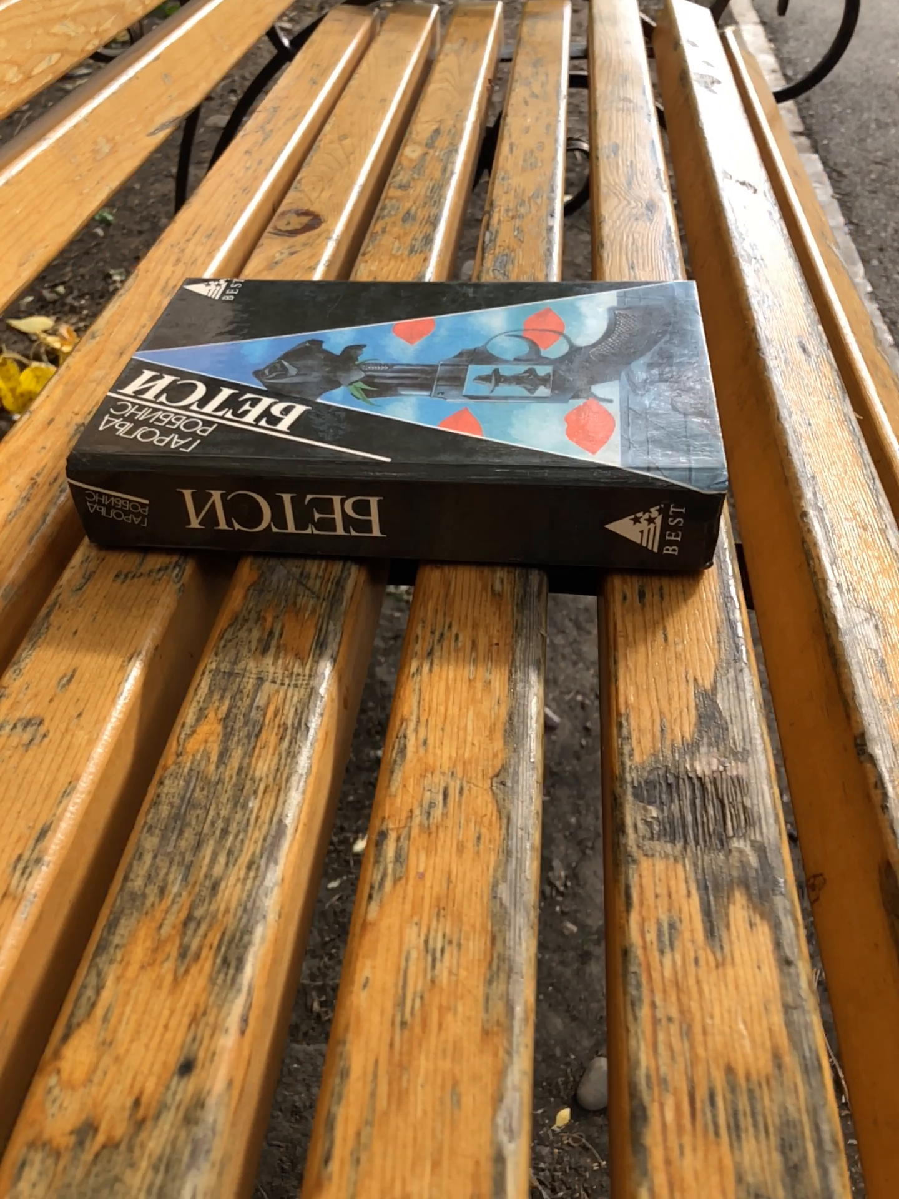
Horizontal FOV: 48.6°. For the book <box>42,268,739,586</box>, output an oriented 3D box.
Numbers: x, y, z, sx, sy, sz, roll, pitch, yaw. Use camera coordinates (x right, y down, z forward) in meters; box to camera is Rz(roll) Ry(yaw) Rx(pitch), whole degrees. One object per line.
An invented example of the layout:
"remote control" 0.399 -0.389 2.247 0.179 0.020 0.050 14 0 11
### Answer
"book" -0.014 -0.069 0.361 0.210 0.045 0.130 3 42 5
